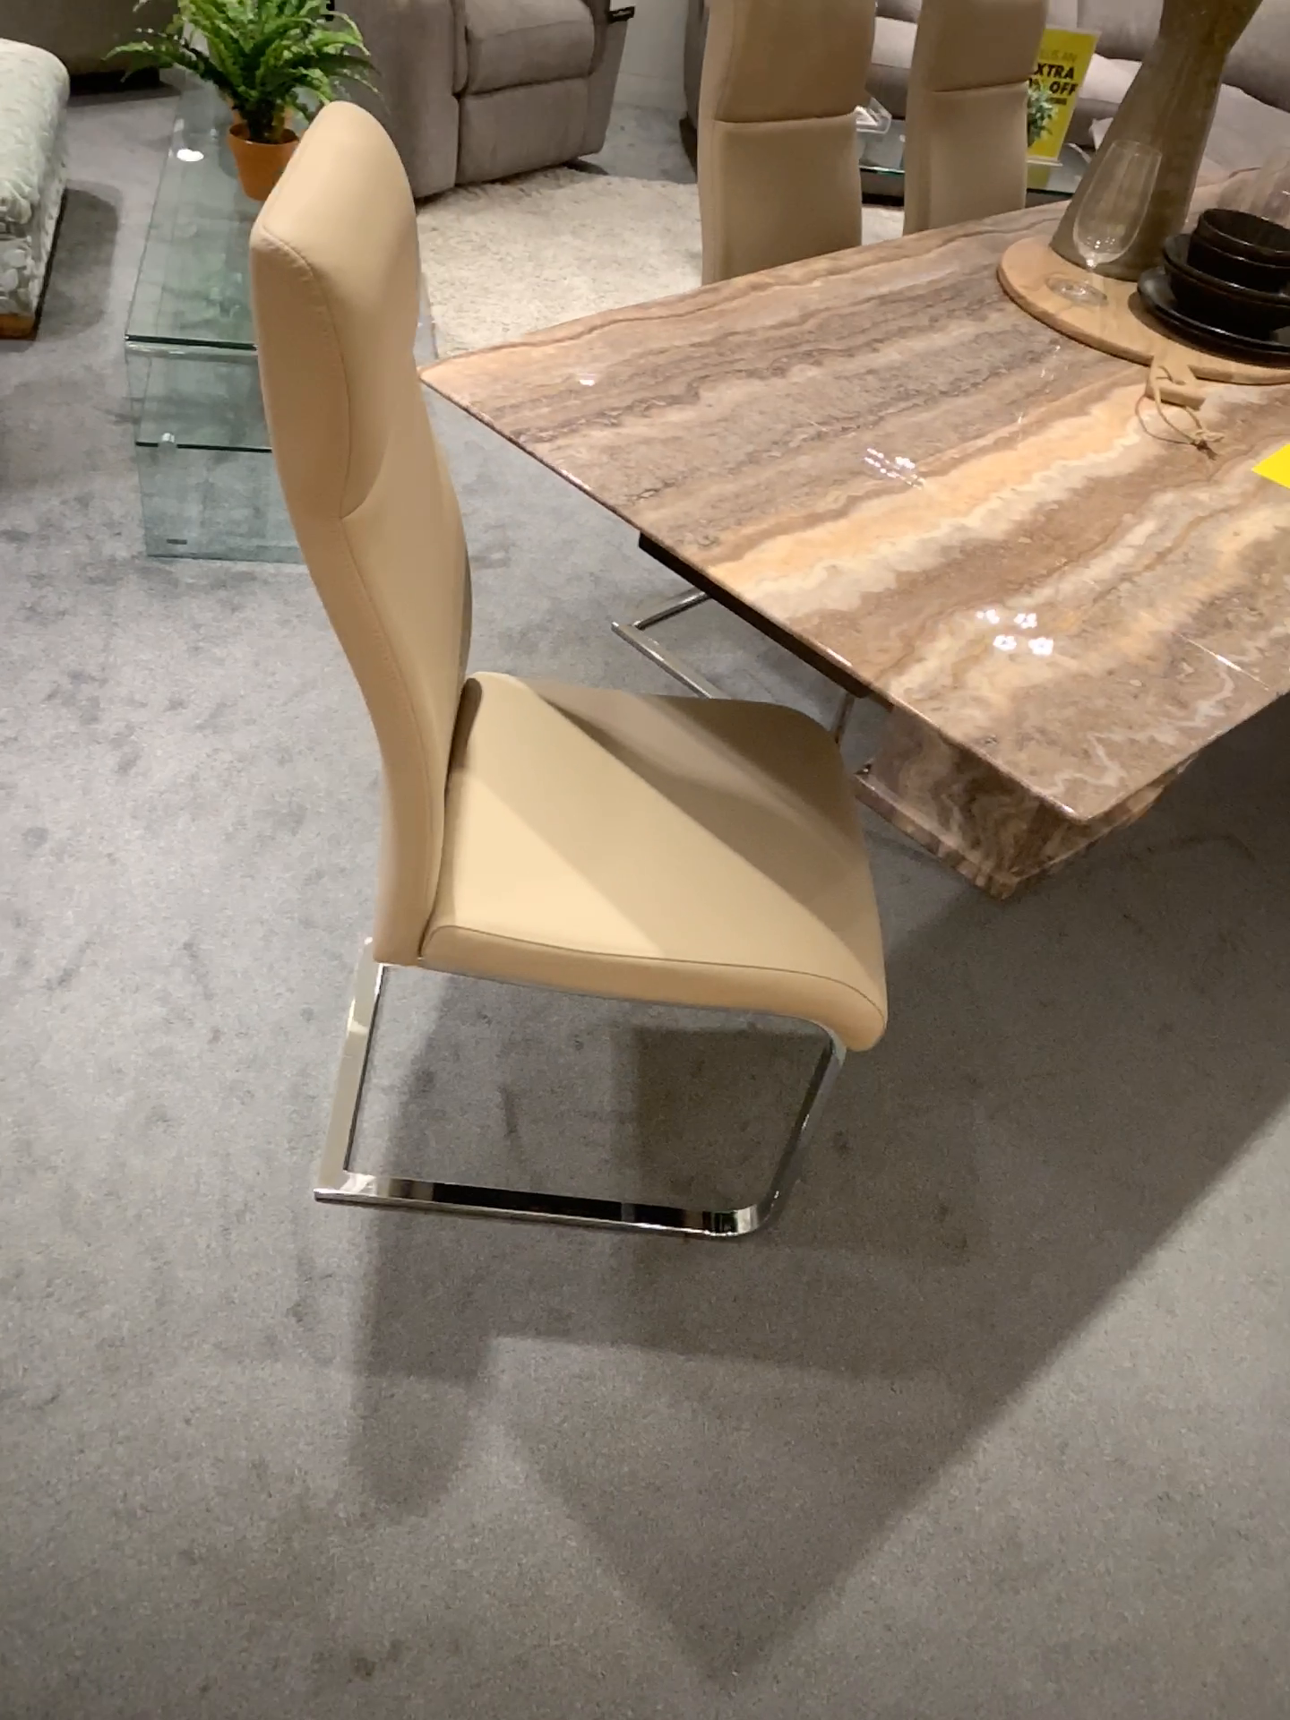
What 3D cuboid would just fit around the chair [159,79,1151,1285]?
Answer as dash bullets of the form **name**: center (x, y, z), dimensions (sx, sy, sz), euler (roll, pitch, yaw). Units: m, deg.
- **chair**: center (-0.063, -0.083, 1.242), dimensions (0.569, 0.974, 0.478), euler (6, 43, -7)
